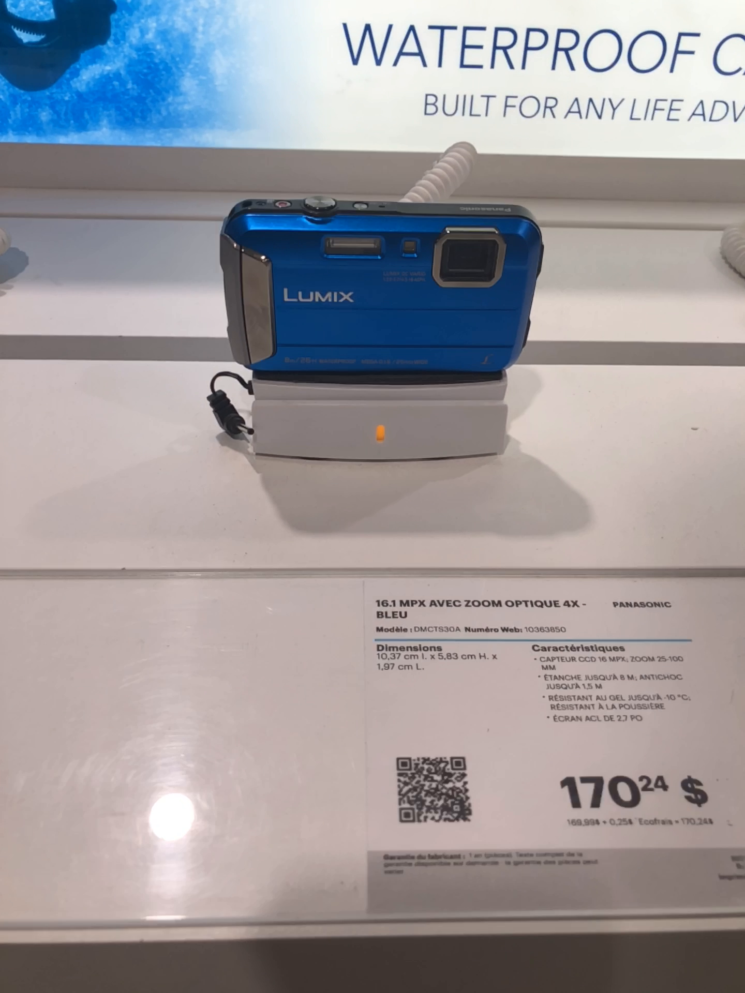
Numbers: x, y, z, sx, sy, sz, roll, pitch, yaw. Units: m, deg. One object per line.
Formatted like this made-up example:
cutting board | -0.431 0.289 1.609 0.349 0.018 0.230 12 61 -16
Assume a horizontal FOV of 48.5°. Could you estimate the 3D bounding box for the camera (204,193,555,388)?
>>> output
camera | 0.001 -0.067 0.275 0.106 0.060 0.020 -1 40 -3
